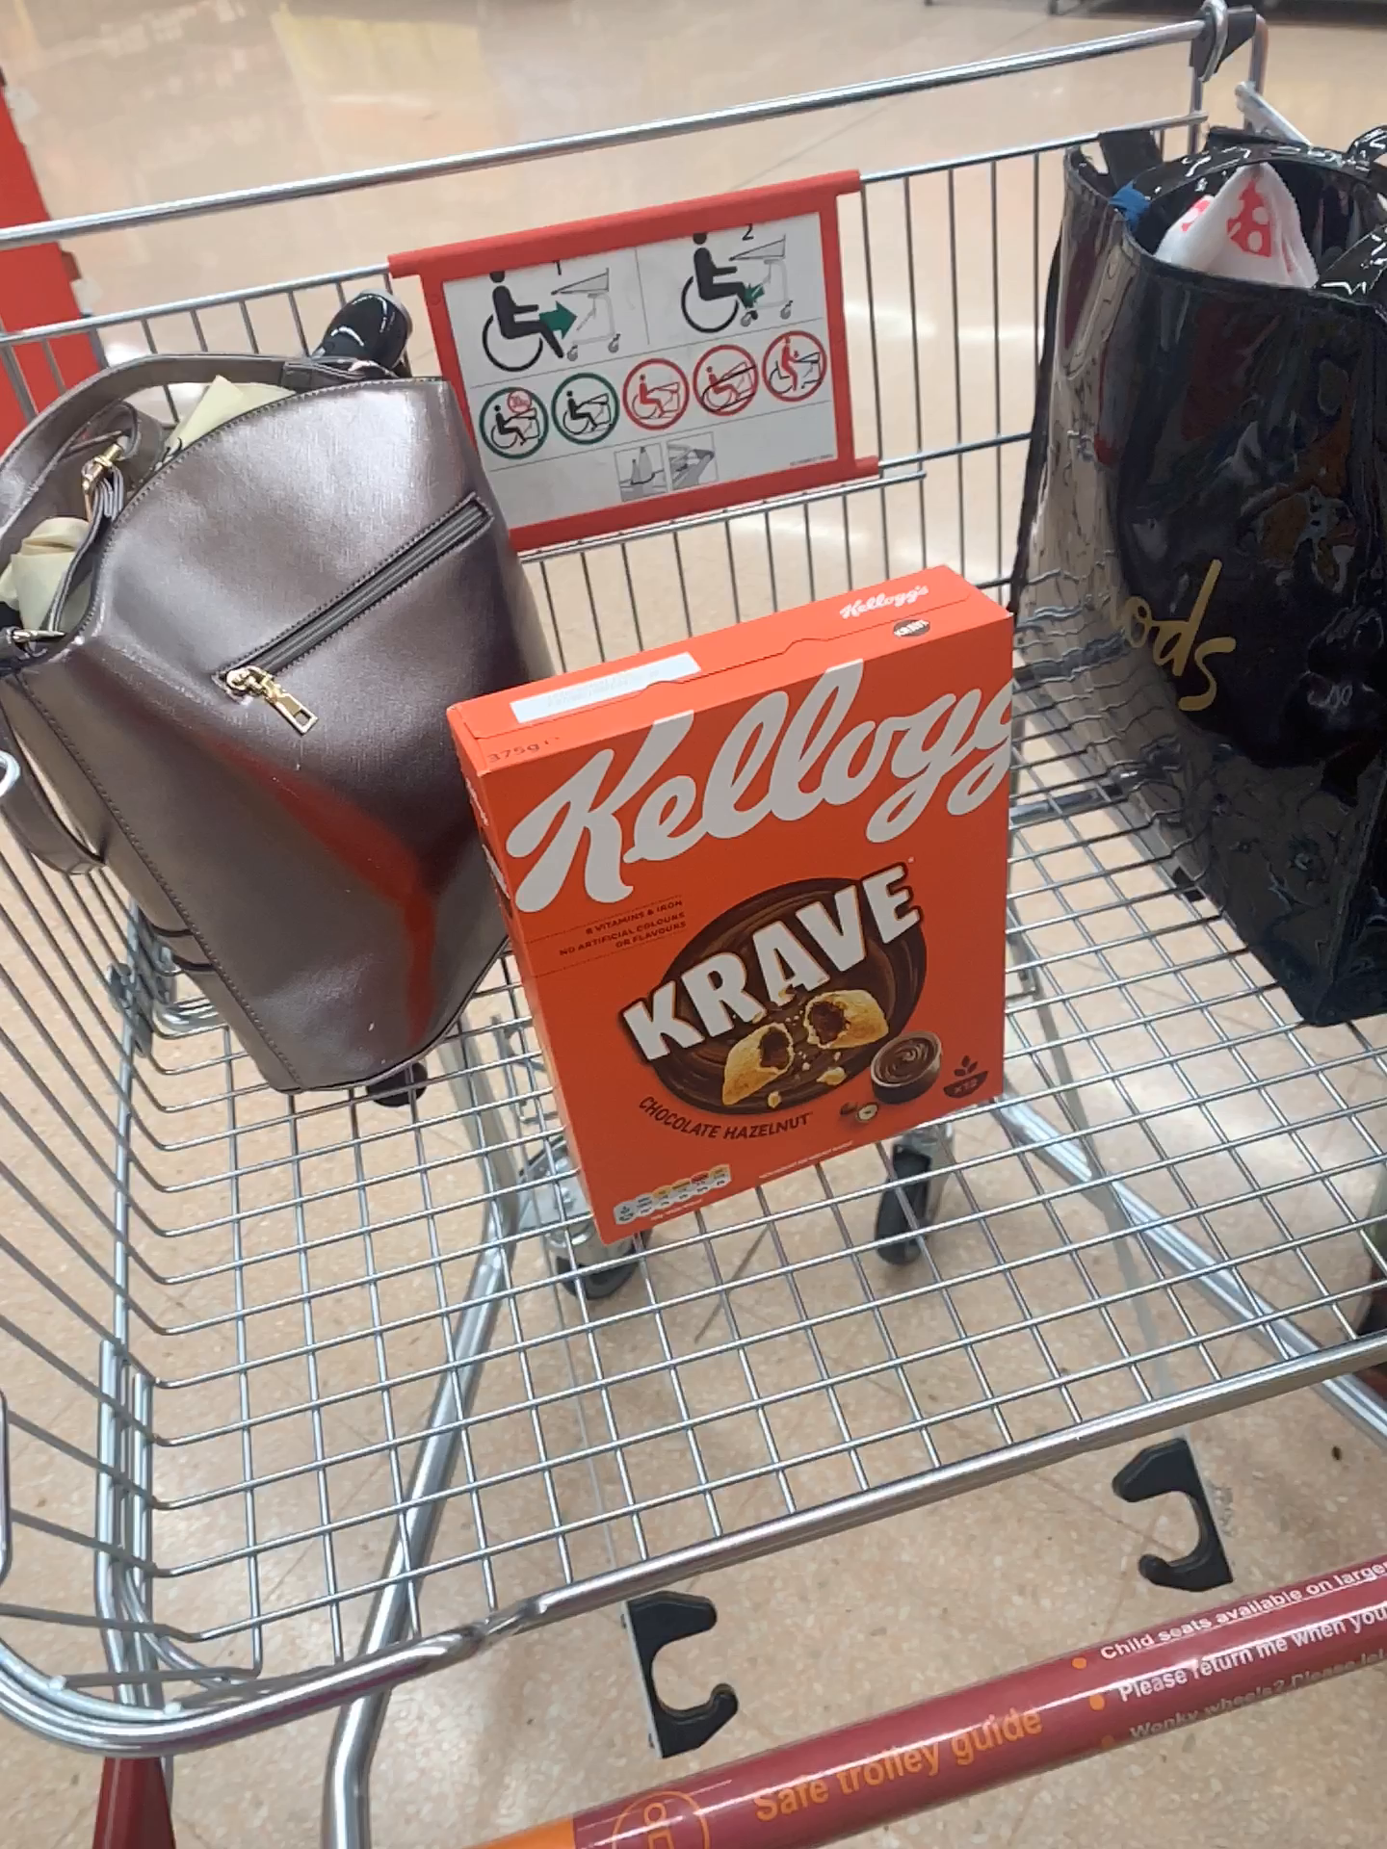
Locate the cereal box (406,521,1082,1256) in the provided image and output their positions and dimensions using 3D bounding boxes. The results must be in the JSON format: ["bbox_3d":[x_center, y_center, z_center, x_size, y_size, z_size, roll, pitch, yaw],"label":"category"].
[{"bbox_3d":[0.028,-0.005,0.518,0.210,0.228,0.050,-18,40,-13],"label":"cereal box"}]
